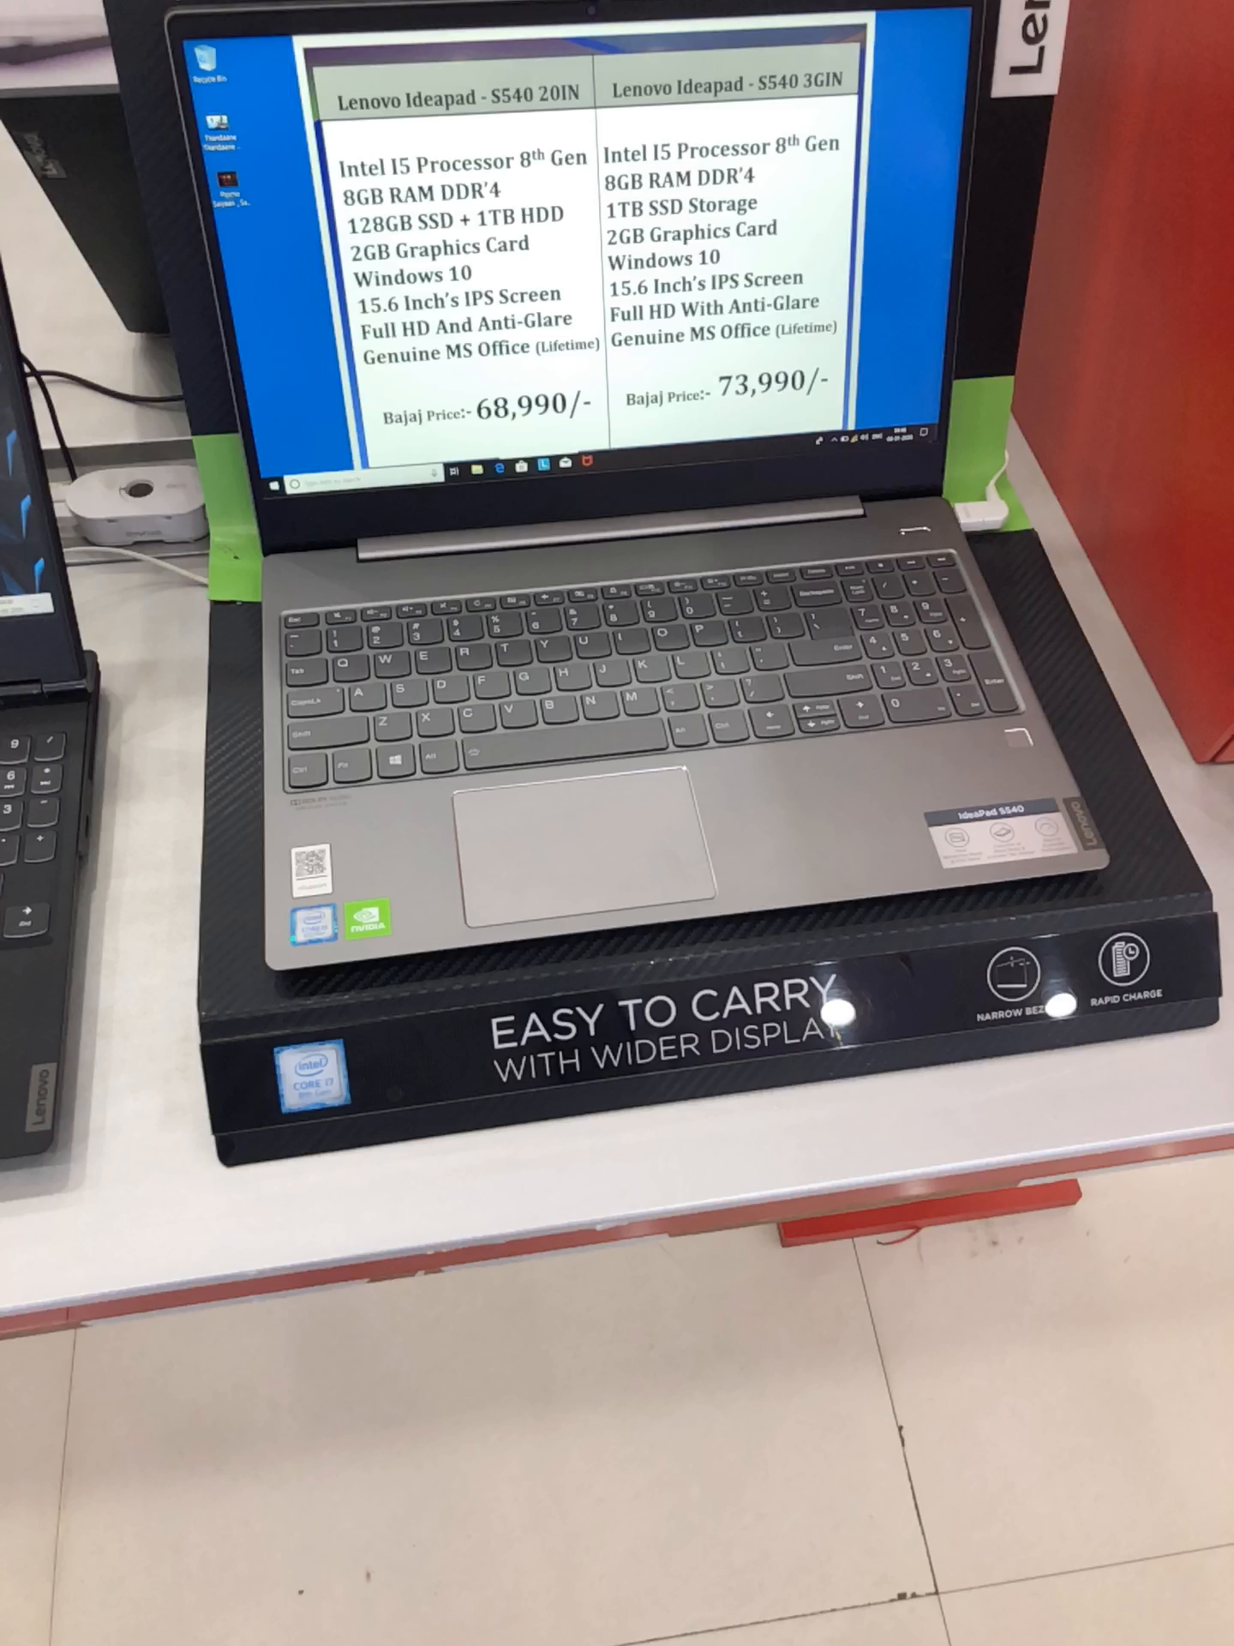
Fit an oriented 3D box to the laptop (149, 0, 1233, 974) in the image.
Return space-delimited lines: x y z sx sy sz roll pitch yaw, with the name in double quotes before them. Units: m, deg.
"laptop" 0.013 -0.153 0.551 0.336 0.194 0.325 -7 56 -7
